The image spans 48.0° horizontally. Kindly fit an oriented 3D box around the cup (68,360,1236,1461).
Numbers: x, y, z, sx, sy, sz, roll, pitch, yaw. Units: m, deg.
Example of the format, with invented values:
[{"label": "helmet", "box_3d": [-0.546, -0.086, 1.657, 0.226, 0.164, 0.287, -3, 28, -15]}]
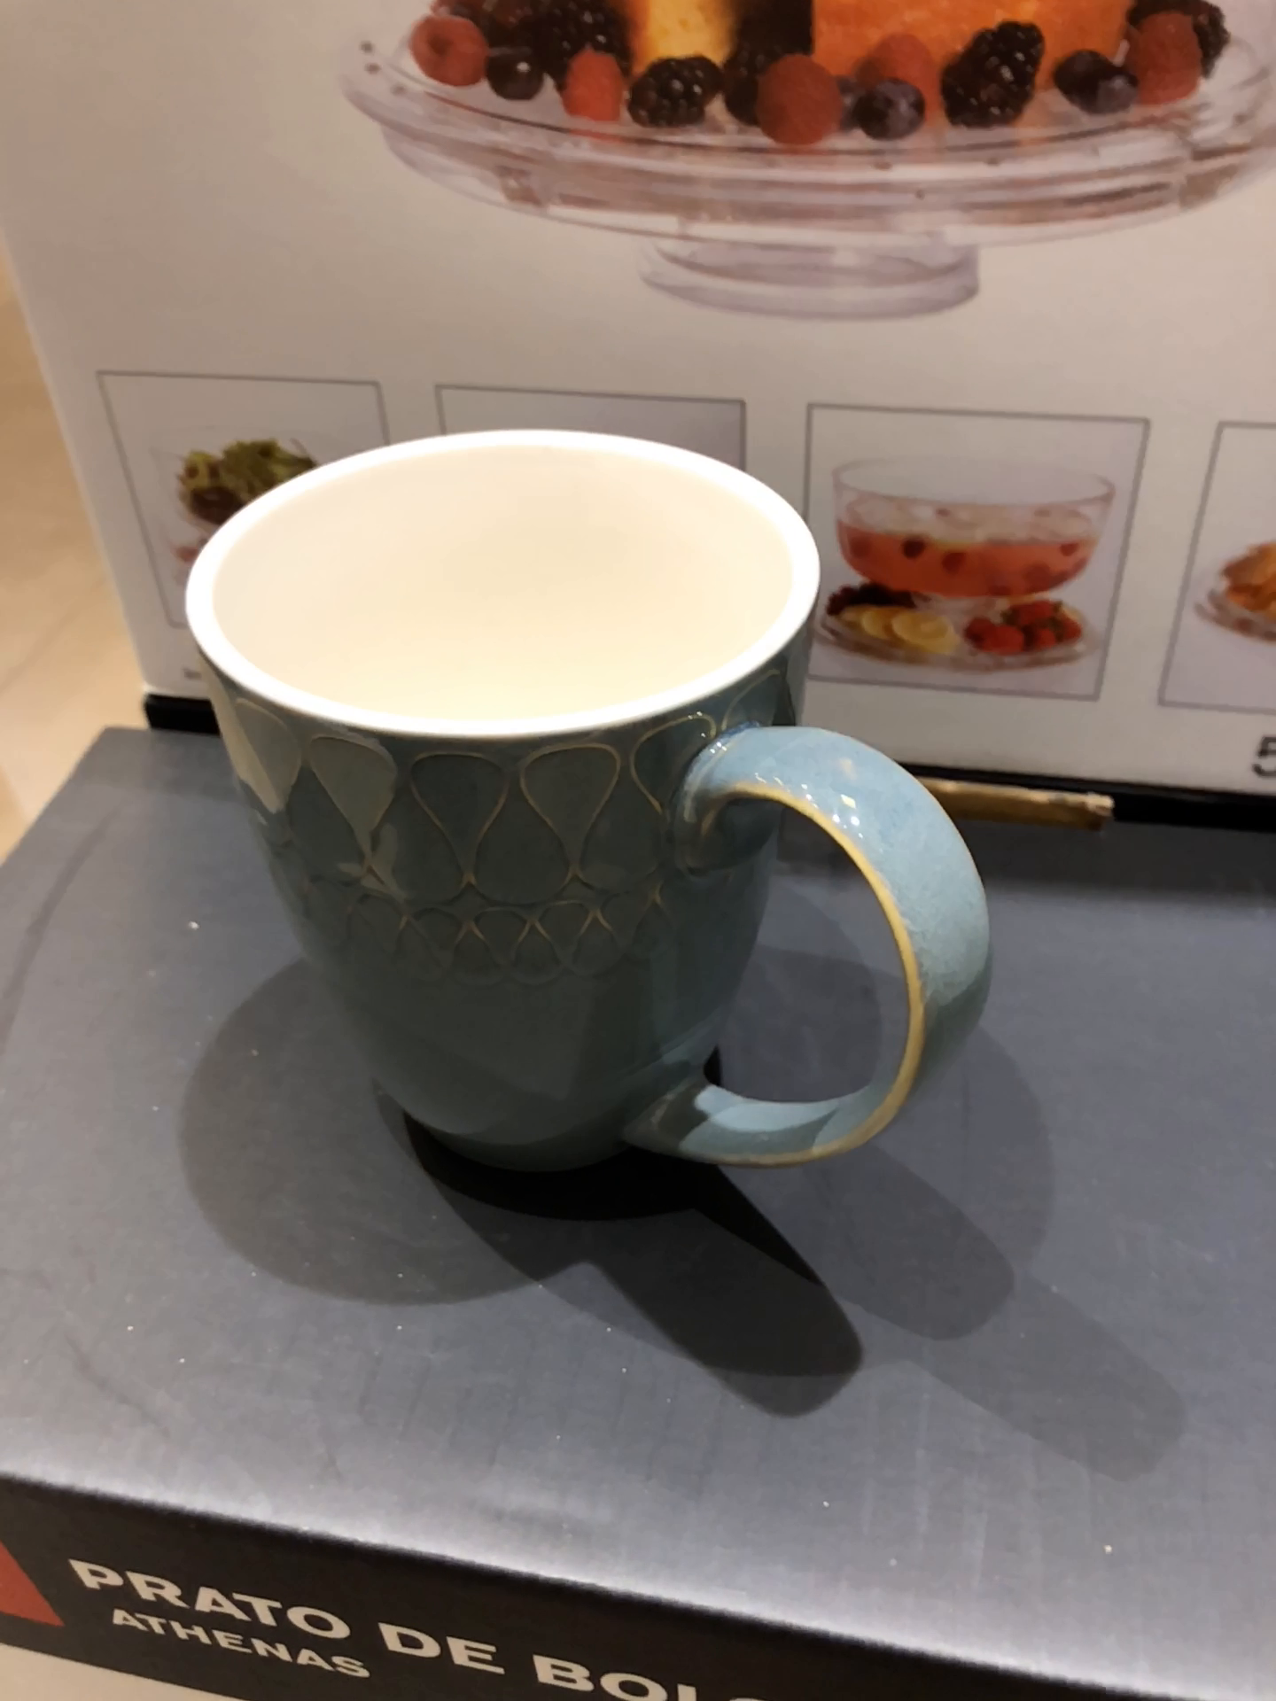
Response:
[{"label": "cup", "box_3d": [0.003, 0.000, 0.227, 0.130, 0.099, 0.090, 24, 48, 28]}]
